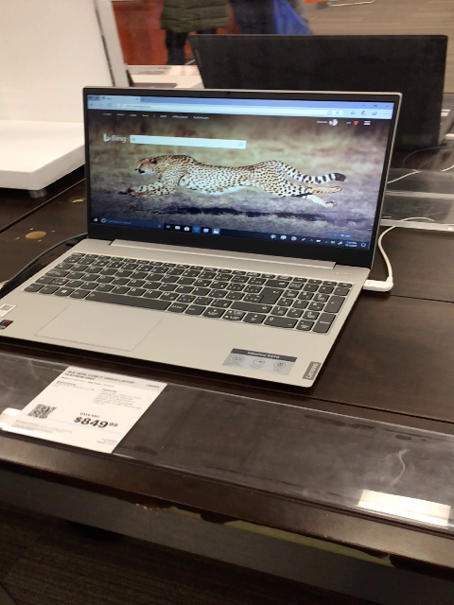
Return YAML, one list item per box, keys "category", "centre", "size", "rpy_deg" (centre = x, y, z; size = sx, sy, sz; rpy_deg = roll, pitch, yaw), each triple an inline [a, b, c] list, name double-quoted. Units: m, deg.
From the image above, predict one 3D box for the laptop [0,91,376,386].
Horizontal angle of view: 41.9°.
- category: "laptop"
  centre: [-0.062, -0.096, 0.657]
  size: [0.371, 0.195, 0.305]
  rpy_deg: [9, 38, 17]
